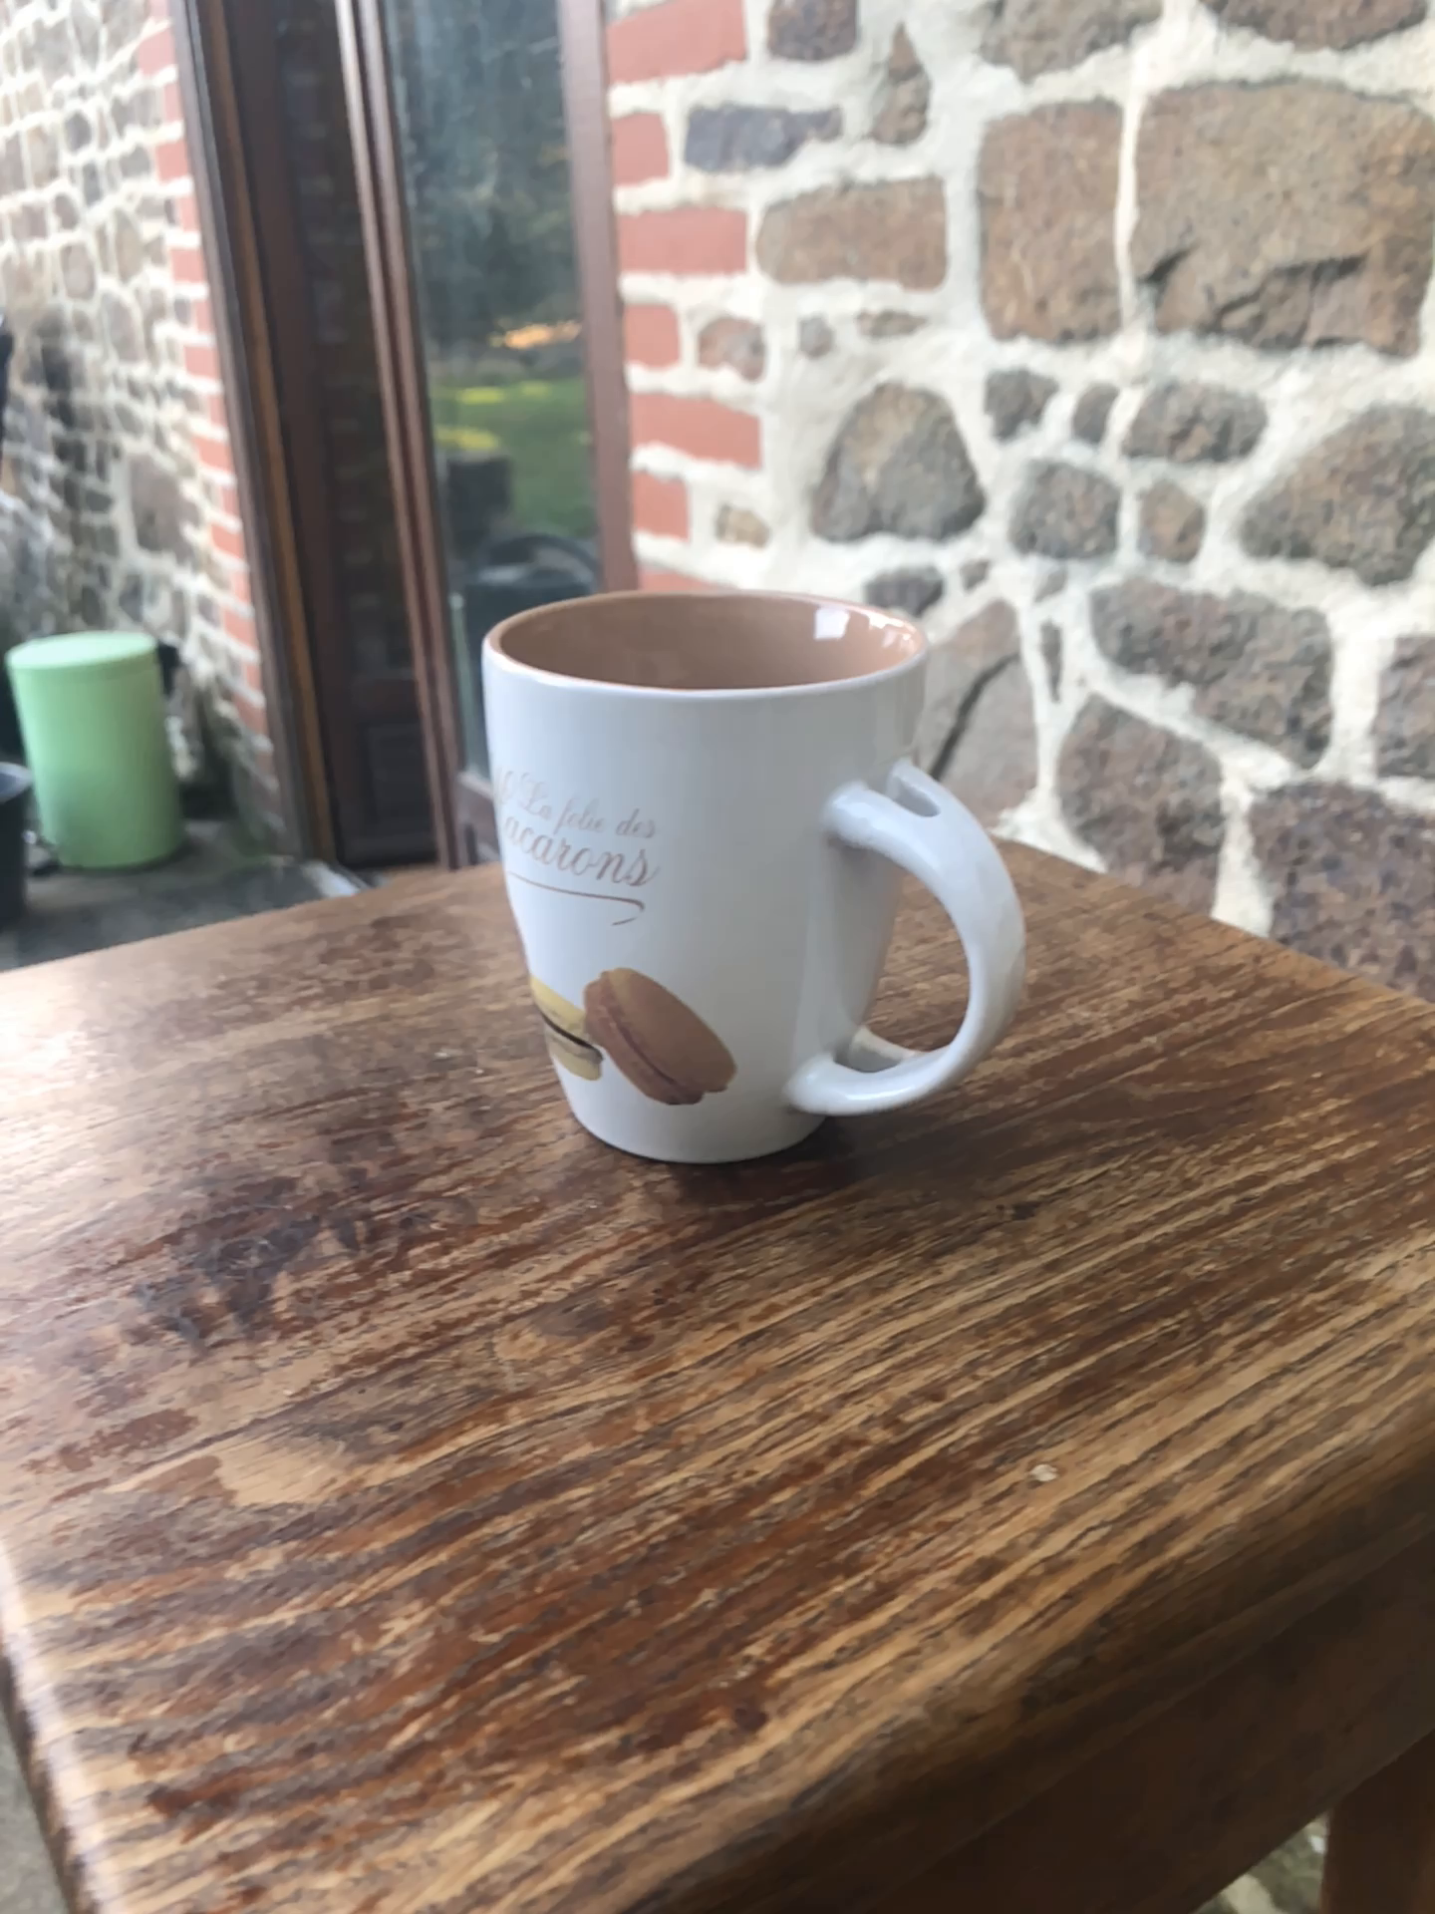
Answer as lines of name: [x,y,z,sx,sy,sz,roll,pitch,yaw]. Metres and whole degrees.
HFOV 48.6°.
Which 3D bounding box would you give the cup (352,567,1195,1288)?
cup: [0.010,-0.018,0.309,0.123,0.090,0.094,18,29,38]
